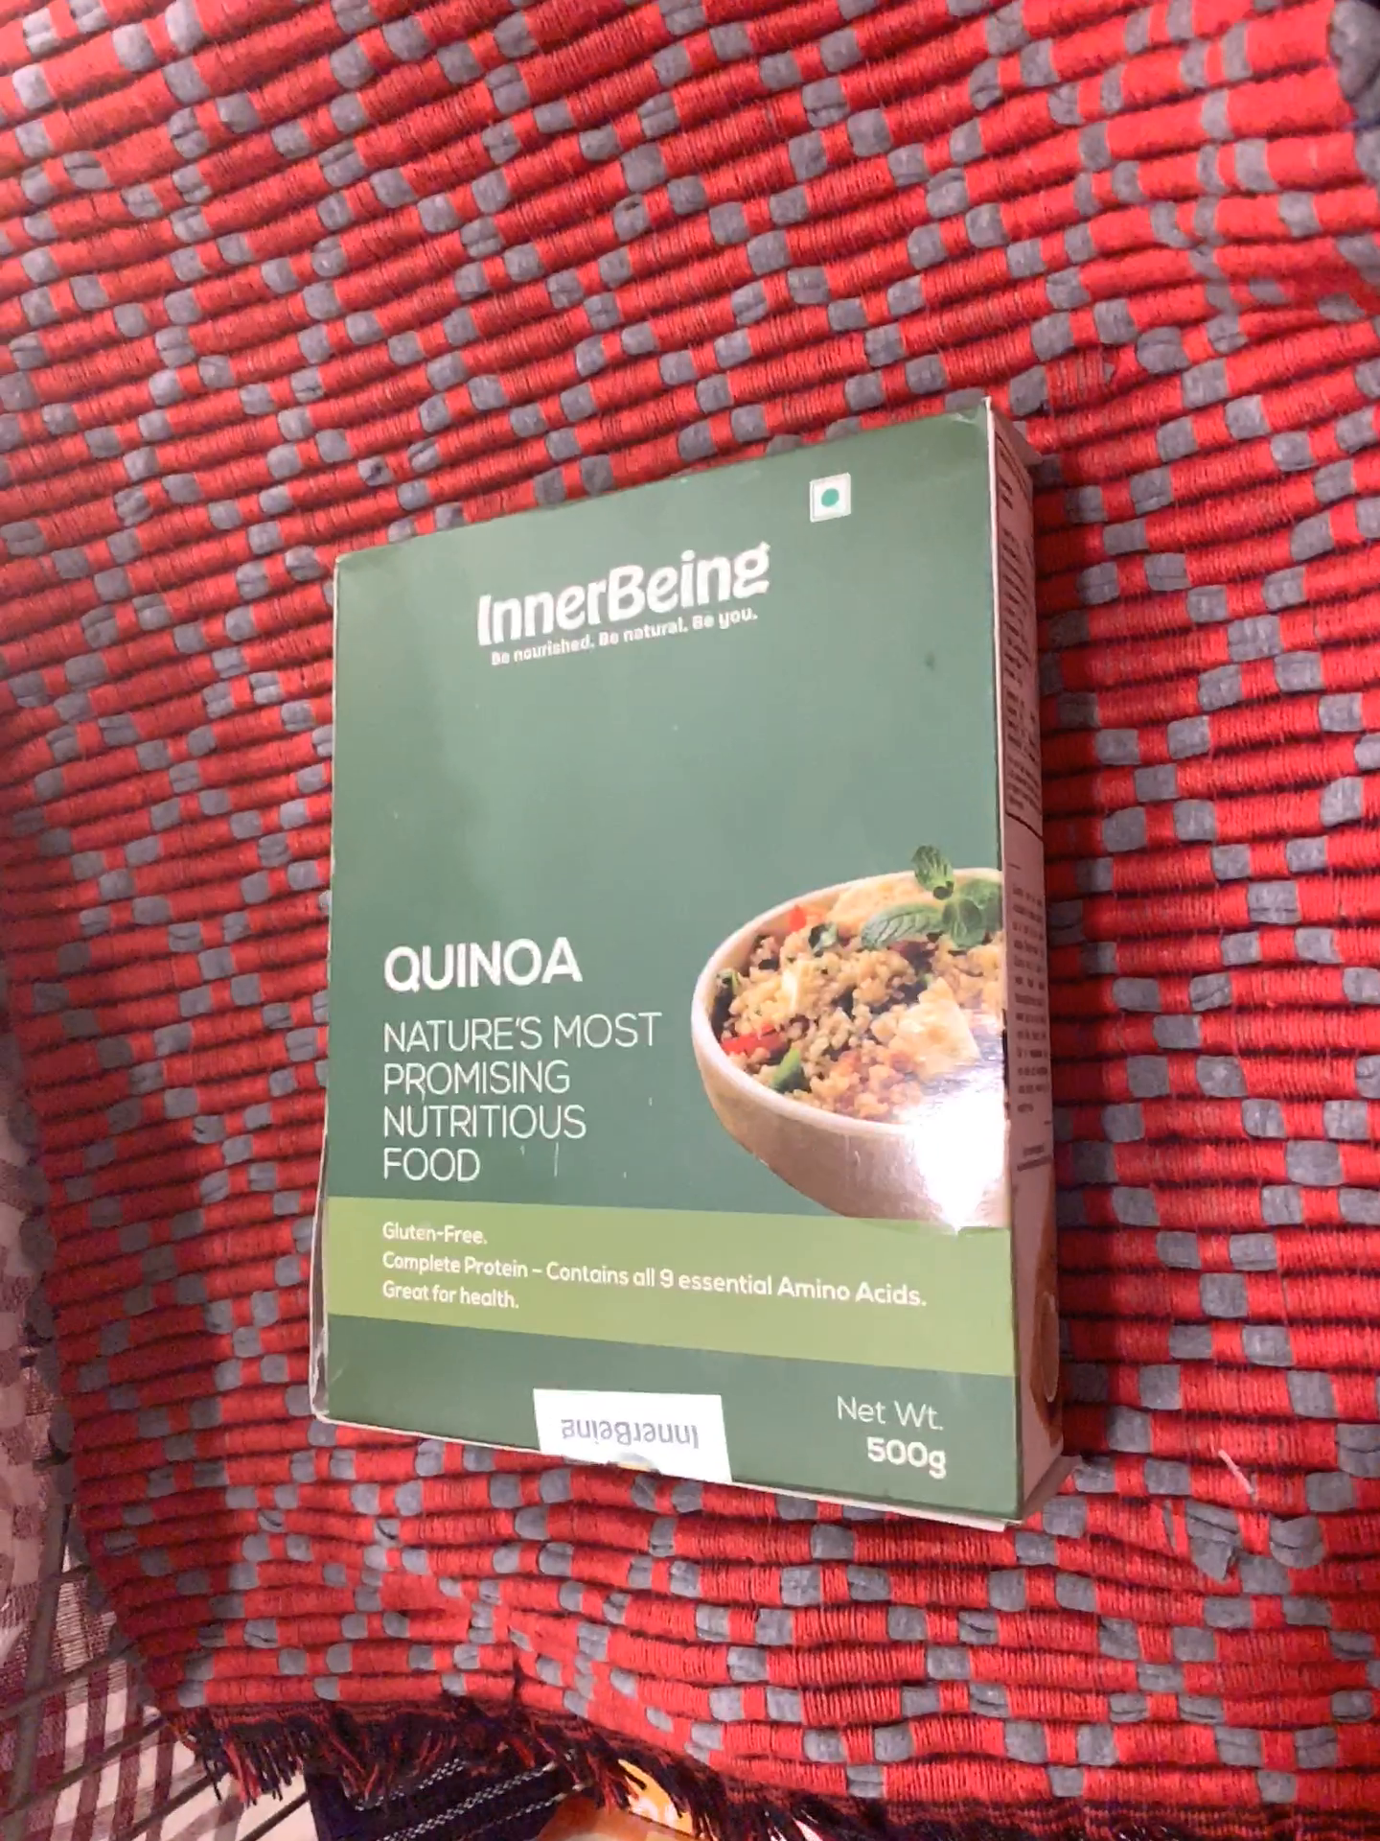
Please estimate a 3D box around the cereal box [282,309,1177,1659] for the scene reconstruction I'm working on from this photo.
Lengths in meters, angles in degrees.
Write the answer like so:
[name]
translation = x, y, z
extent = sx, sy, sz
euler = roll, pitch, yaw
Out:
[cereal box]
translation = -0.002, 0.010, 0.246
extent = 0.151, 0.040, 0.180
euler = -4, 85, 31
